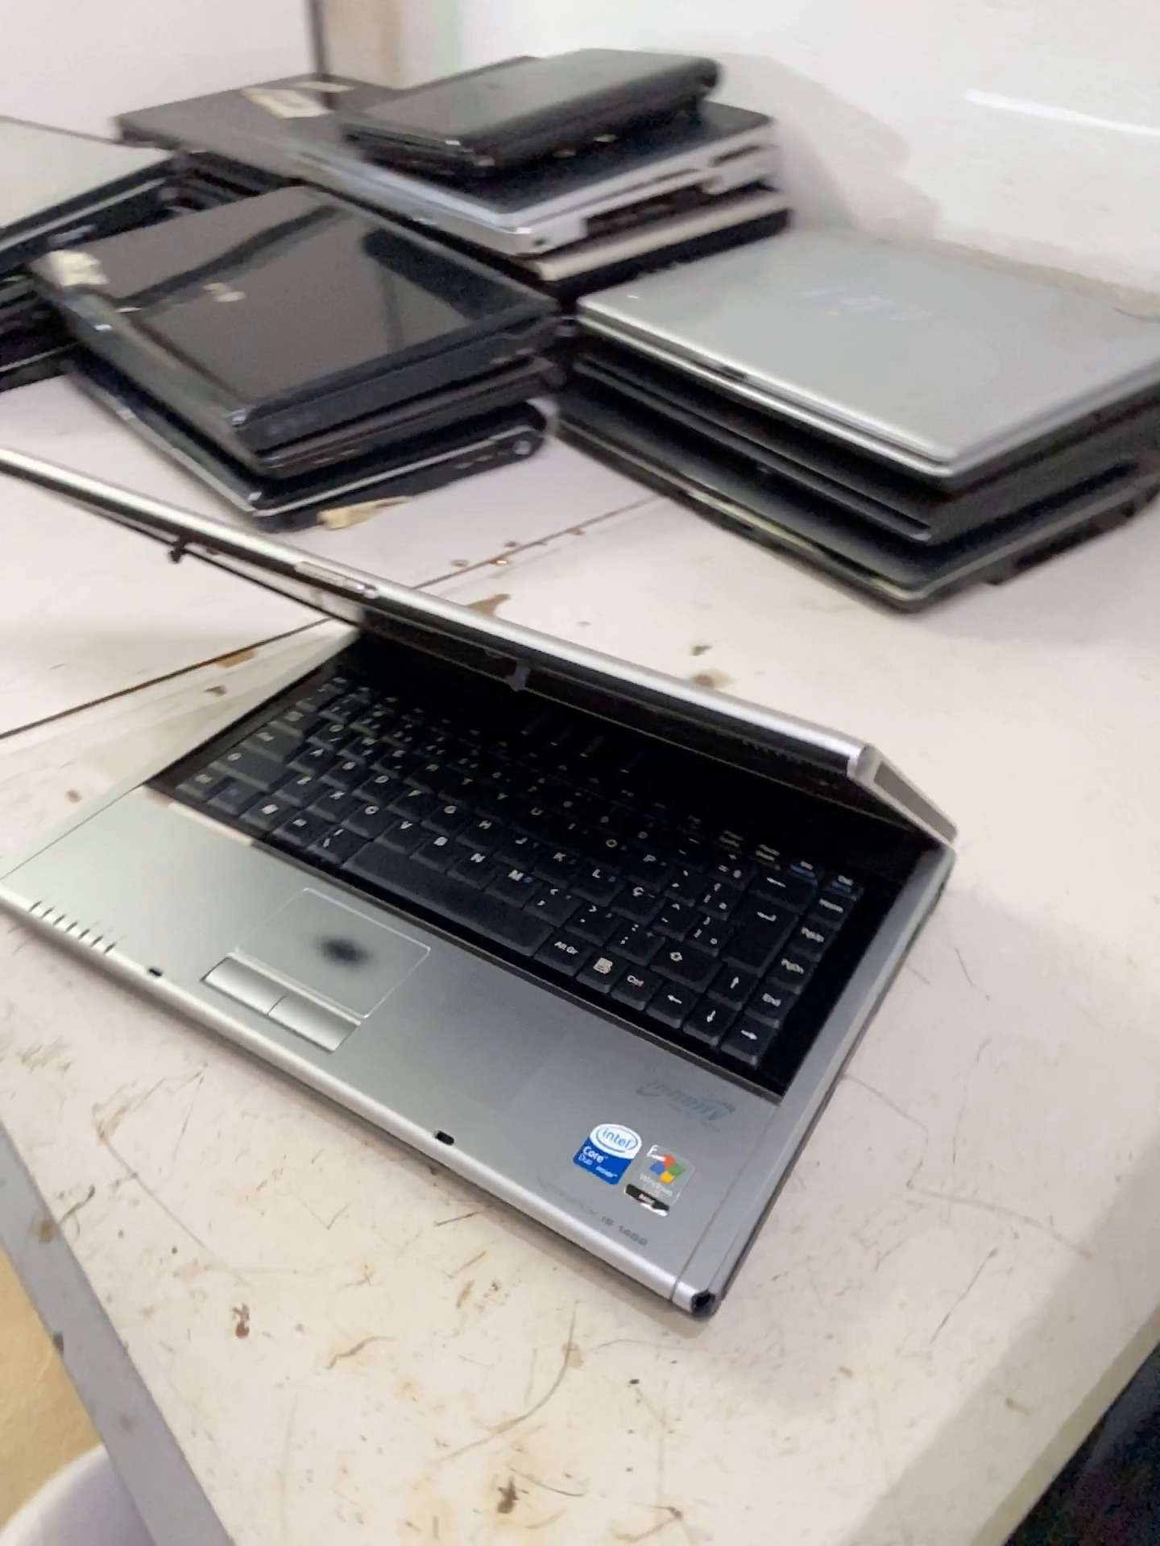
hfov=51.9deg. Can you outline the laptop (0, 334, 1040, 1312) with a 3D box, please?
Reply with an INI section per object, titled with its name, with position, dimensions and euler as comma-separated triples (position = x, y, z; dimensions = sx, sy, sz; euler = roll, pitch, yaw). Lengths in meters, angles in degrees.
[laptop]
position = -0.044, -0.021, 0.446
dimensions = 0.331, 0.164, 0.228
euler = 21, 42, 25
